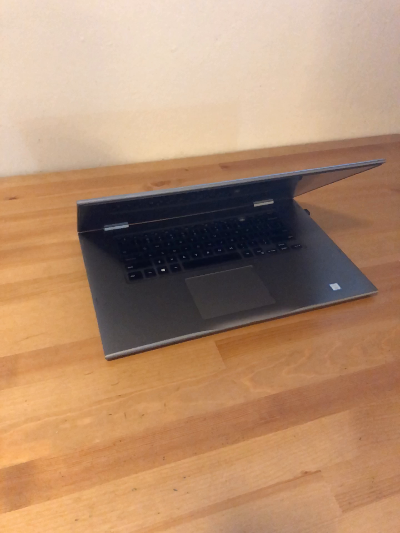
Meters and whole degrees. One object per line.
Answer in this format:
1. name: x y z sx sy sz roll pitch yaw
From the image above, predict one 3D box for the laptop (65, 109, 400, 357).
1. laptop: 0.035 -0.070 0.599 0.375 0.165 0.248 -11 43 -16
